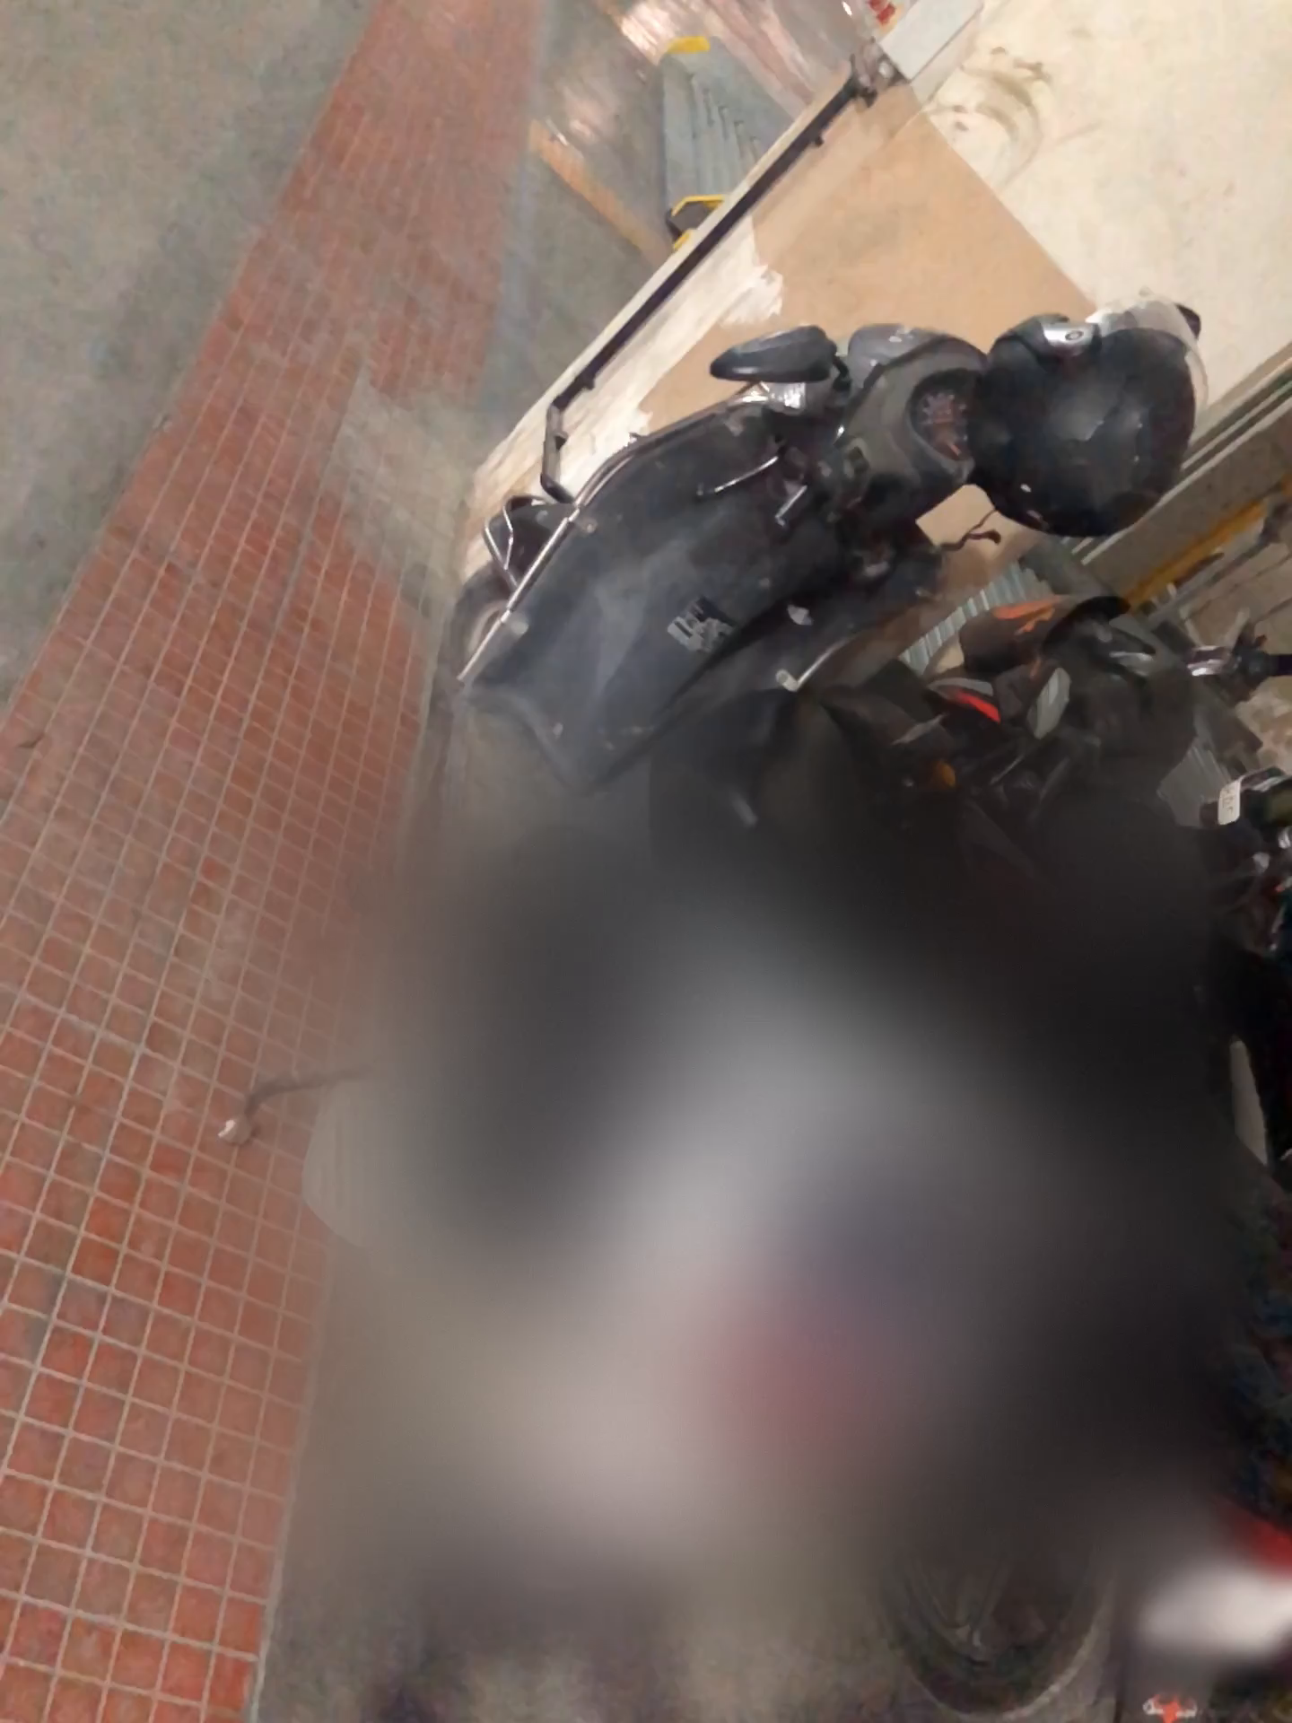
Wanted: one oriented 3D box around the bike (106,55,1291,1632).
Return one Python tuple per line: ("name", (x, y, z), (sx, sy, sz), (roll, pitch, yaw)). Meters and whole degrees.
("bike", (-0.037, -0.096, 1.685), (0.595, 0.989, 1.499), (29, 34, -33))
